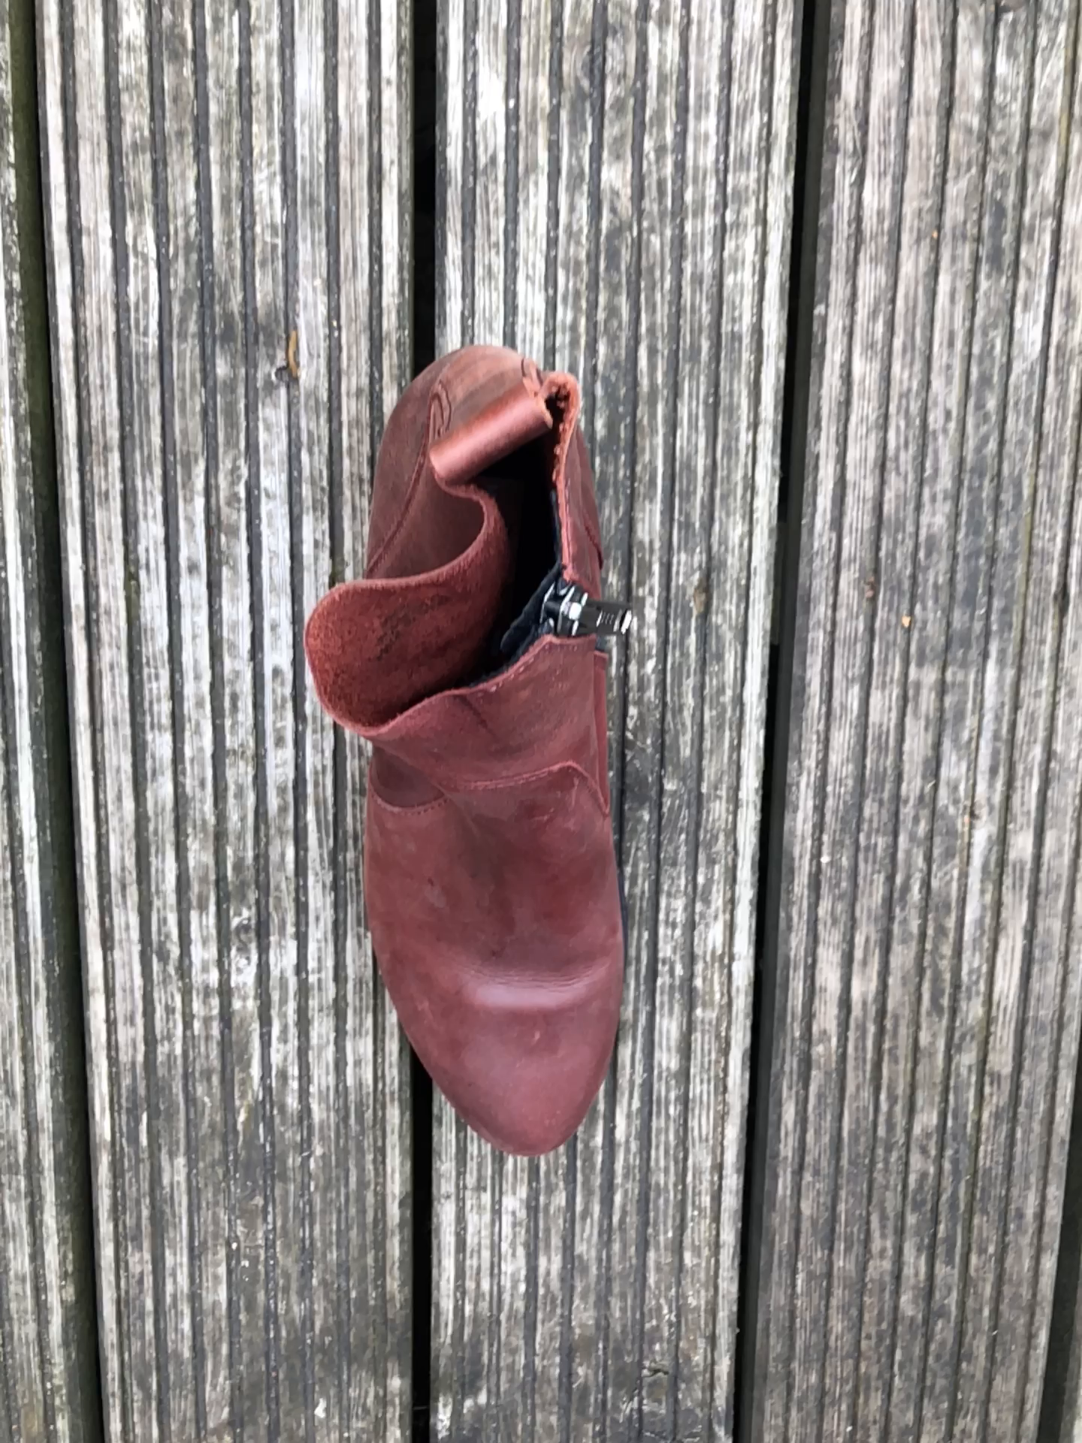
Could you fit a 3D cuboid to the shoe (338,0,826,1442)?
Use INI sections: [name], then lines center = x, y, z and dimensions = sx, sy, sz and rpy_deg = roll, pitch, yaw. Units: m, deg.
[shoe]
center = -0.001, 0.007, 0.370
dimensions = 0.090, 0.240, 0.340
rpy_deg = 1, 100, -2
